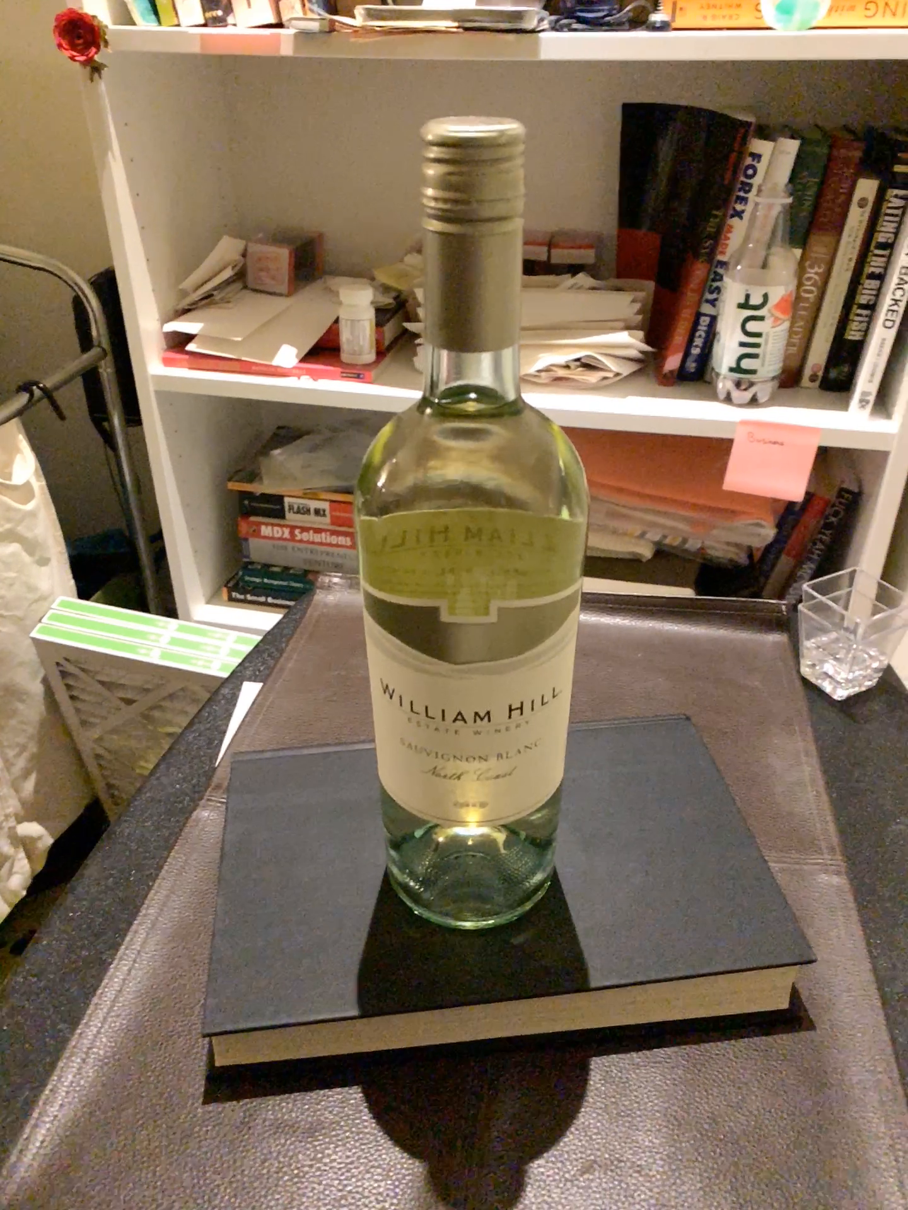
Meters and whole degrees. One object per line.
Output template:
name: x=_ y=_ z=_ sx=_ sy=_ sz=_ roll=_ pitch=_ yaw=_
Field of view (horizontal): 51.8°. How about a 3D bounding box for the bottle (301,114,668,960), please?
bottle: x=0.011 y=-0.009 z=0.345 sx=0.090 sy=0.298 sz=0.091 roll=0 pitch=31 yaw=0
